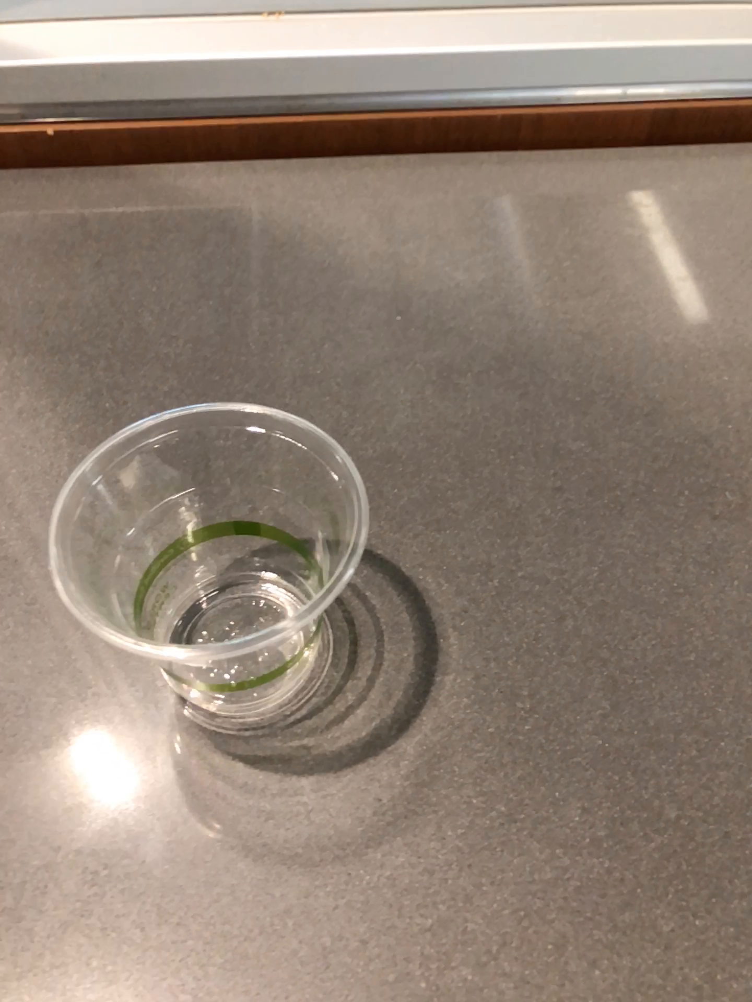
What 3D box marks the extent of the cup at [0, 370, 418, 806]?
[{"bbox_3d":[-0.036,0.020,0.212,0.070,0.060,0.070,0,50,0],"label":"cup"}]
